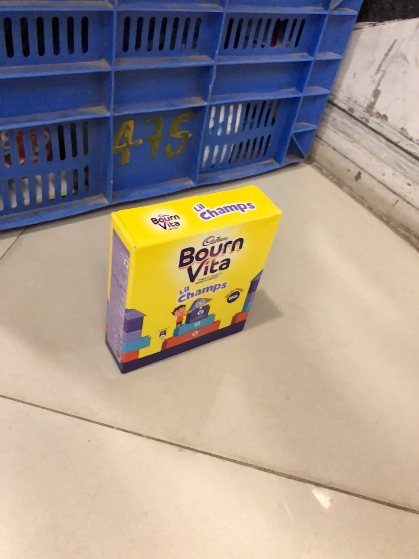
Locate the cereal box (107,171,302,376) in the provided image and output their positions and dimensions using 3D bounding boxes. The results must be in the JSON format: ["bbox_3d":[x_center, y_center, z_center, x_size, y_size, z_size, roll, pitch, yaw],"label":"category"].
[{"bbox_3d":[-0.012,-0.004,0.431,0.151,0.169,0.050,-15,49,-28],"label":"cereal box"}]
